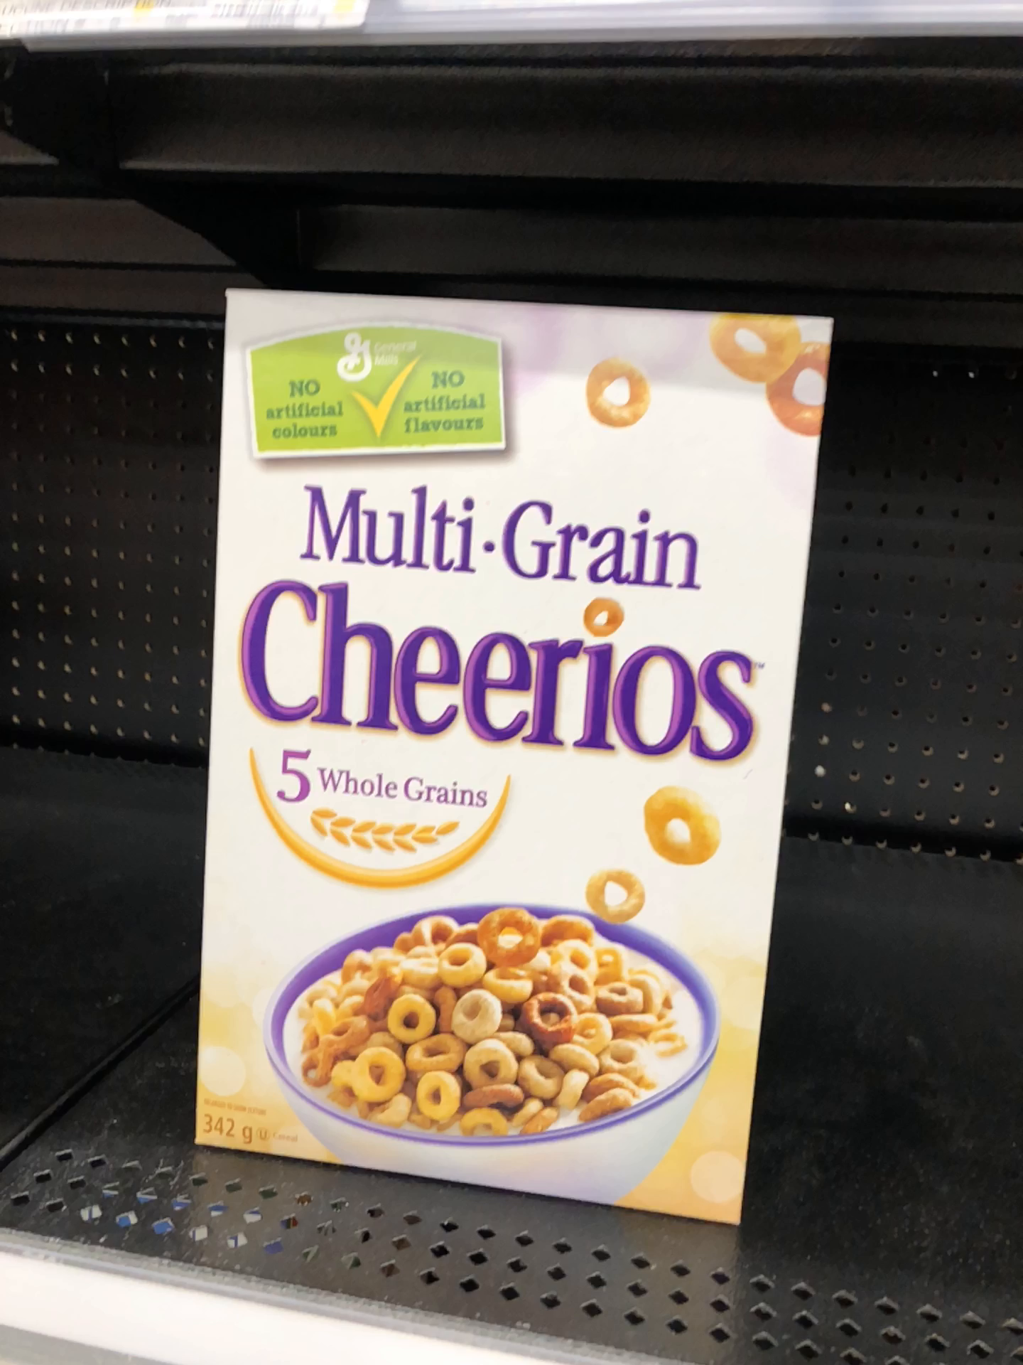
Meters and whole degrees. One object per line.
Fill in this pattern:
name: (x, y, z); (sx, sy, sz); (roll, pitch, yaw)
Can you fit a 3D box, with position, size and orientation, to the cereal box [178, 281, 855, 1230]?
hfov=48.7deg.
cereal box: (-0.003, 0.020, 0.394); (0.200, 0.289, 0.070); (5, 8, 8)
